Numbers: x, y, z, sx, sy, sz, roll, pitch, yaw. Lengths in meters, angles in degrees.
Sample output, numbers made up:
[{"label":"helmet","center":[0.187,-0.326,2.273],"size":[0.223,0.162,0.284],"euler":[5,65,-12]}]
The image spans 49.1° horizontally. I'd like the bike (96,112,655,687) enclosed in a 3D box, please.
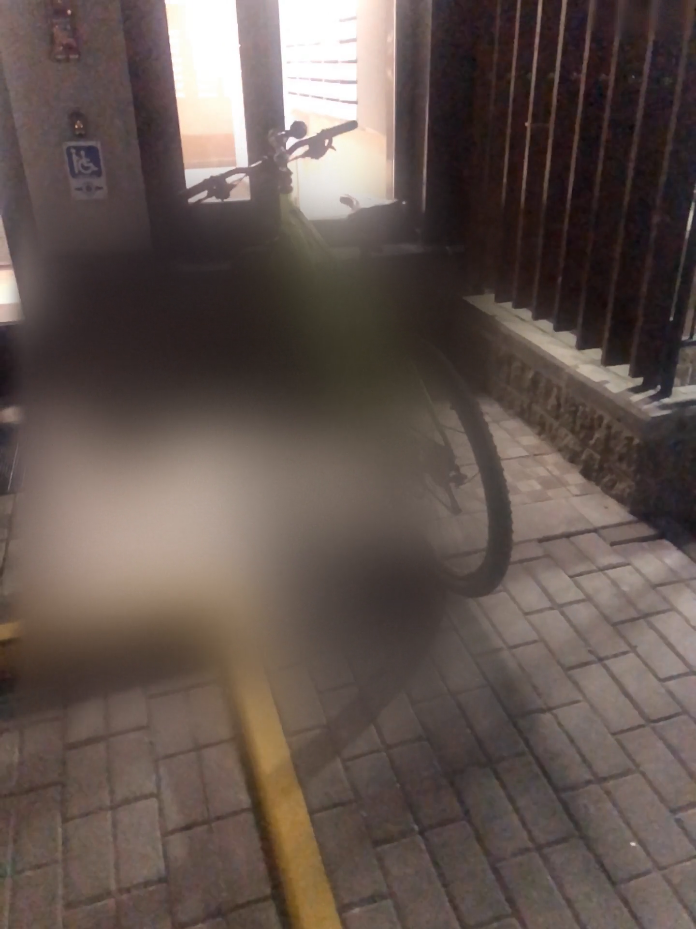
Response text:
[{"label":"bike","center":[-0.122,-0.413,2.323],"size":[0.720,1.095,1.767],"euler":[-14,30,-24]}]
